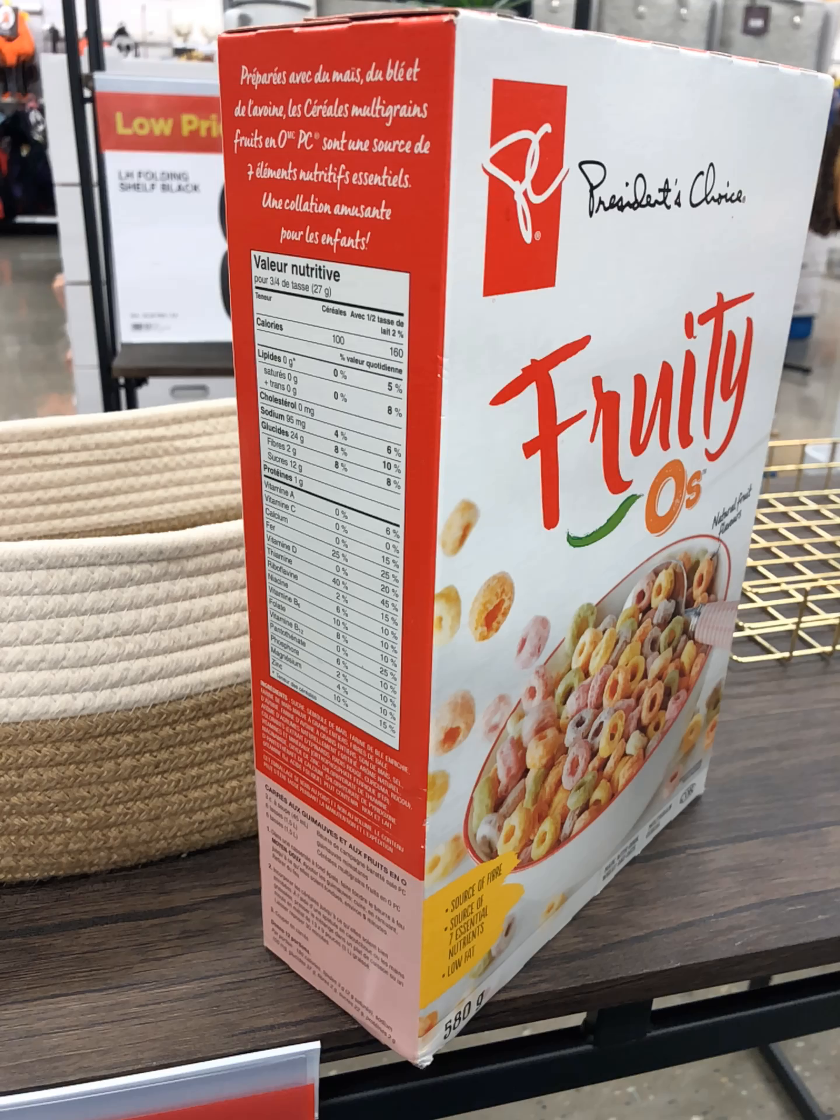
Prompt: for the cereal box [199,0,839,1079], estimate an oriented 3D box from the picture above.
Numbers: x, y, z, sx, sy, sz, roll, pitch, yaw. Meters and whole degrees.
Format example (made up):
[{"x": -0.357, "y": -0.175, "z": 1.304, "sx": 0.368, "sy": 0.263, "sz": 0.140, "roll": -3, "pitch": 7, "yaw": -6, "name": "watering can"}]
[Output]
[{"x": 0.050, "y": -0.022, "z": 0.313, "sx": 0.080, "sy": 0.279, "sz": 0.220, "roll": 21, "pitch": 30, "yaw": 37, "name": "cereal box"}]
